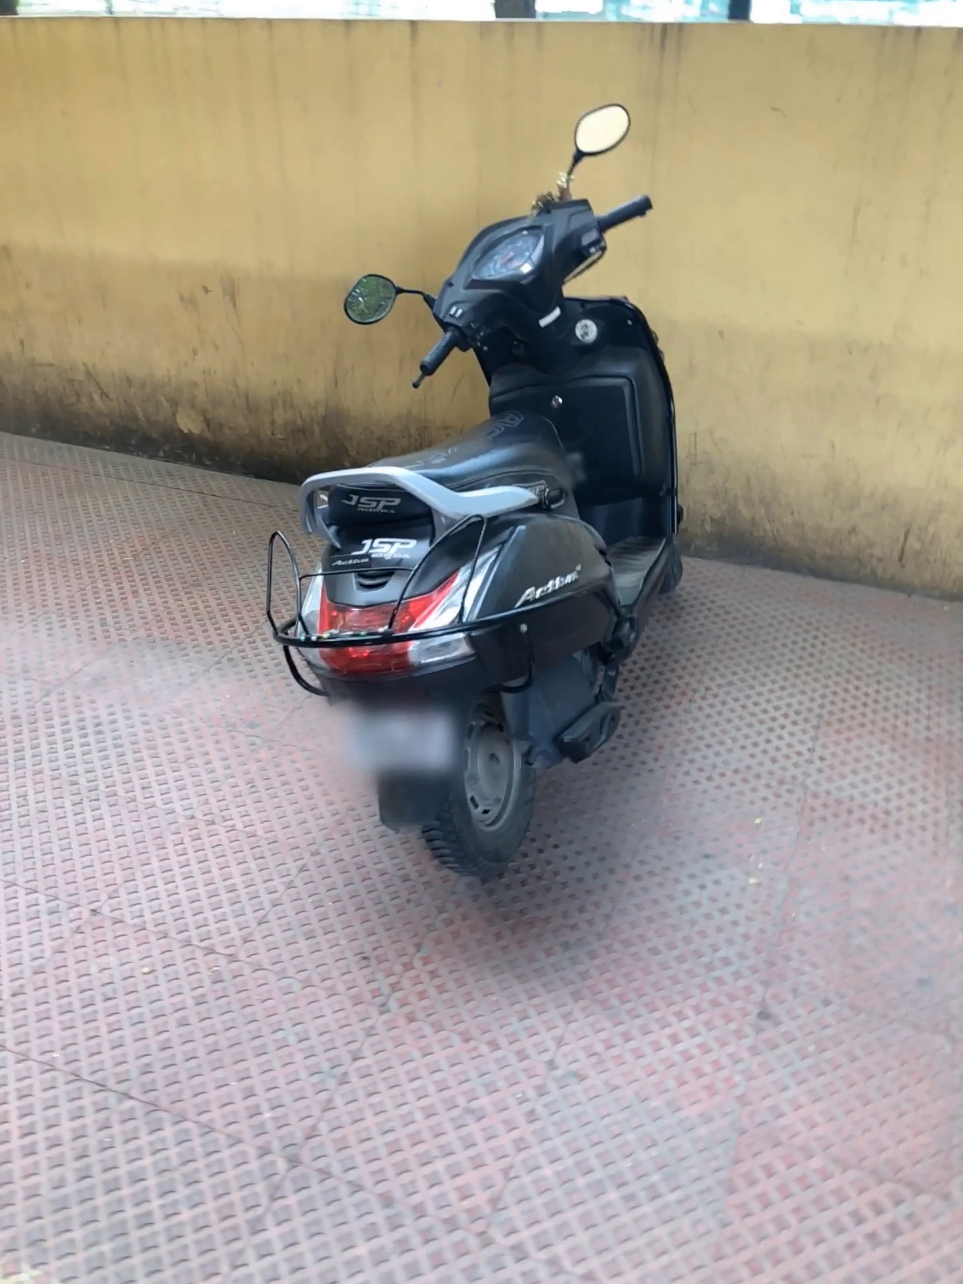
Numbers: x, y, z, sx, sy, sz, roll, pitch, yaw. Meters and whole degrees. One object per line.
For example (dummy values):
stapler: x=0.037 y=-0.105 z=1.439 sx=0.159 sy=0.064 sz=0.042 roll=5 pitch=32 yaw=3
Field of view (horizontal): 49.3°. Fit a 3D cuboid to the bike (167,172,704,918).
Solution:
bike: x=0.057 y=-0.386 z=2.337 sx=0.593 sy=1.045 sz=1.592 roll=8 pitch=30 yaw=14
